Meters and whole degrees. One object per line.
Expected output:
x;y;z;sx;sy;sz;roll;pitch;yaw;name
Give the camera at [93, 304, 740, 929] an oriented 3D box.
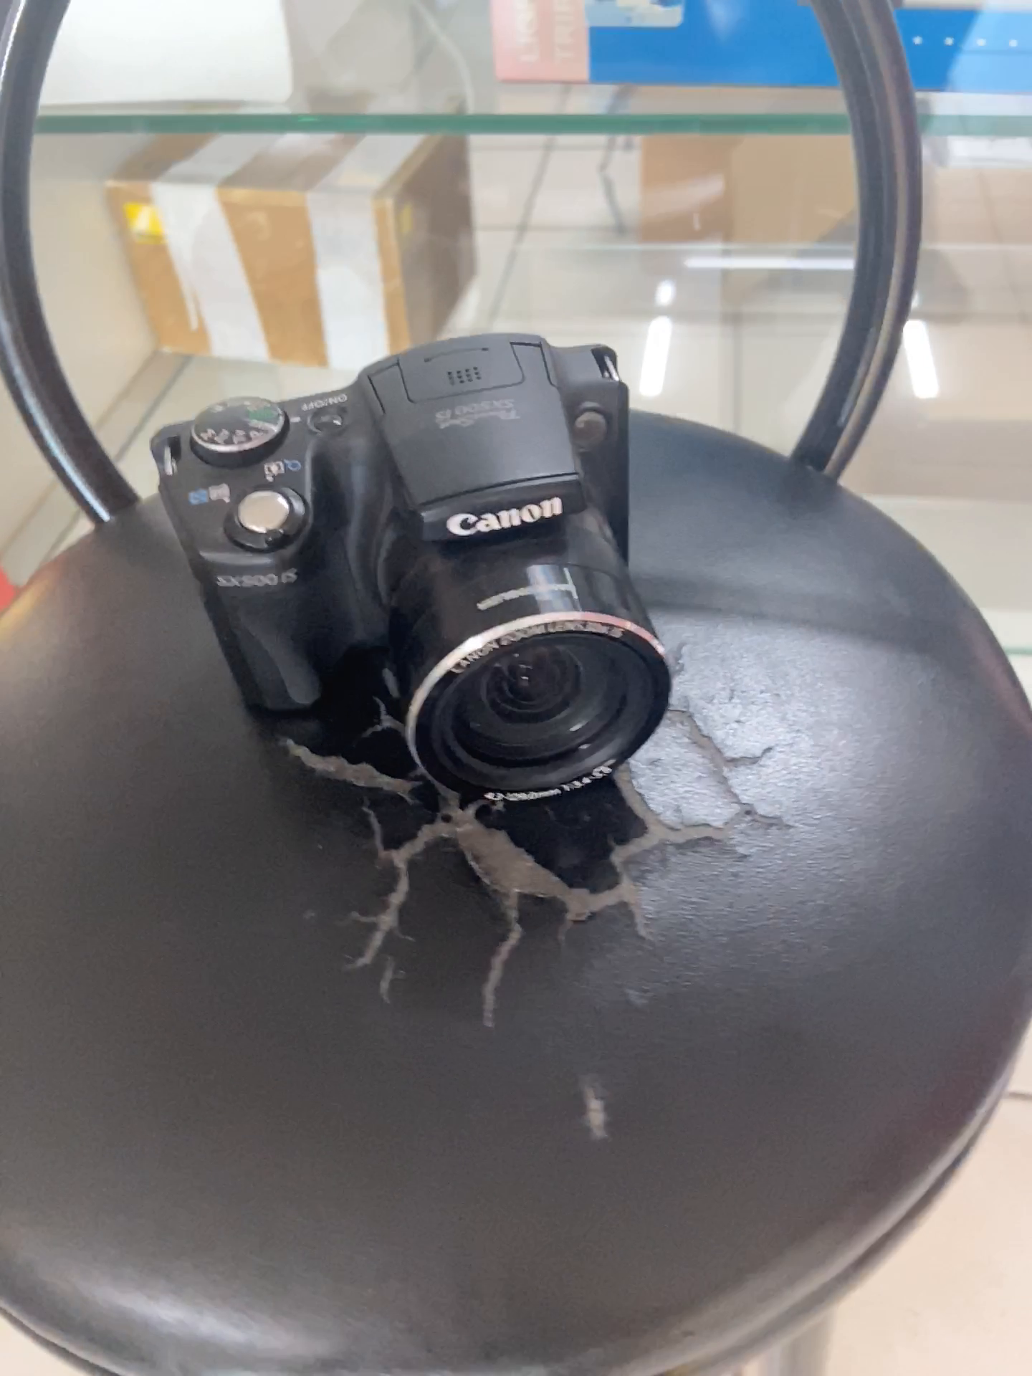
-0.023;-0.019;0.233;0.110;0.070;0.090;-15;46;-7;camera
